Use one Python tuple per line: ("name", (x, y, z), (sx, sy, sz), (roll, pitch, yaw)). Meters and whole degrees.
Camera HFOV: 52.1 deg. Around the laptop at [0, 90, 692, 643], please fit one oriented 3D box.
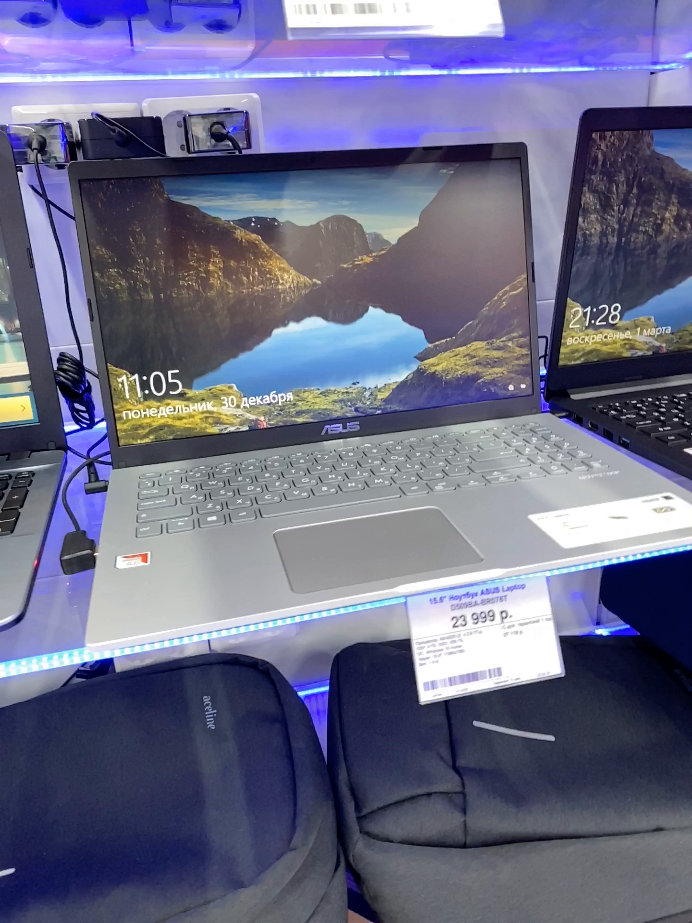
("laptop", (0.017, -0.089, 0.452), (0.360, 0.216, 0.286), (-7, 21, -12))
